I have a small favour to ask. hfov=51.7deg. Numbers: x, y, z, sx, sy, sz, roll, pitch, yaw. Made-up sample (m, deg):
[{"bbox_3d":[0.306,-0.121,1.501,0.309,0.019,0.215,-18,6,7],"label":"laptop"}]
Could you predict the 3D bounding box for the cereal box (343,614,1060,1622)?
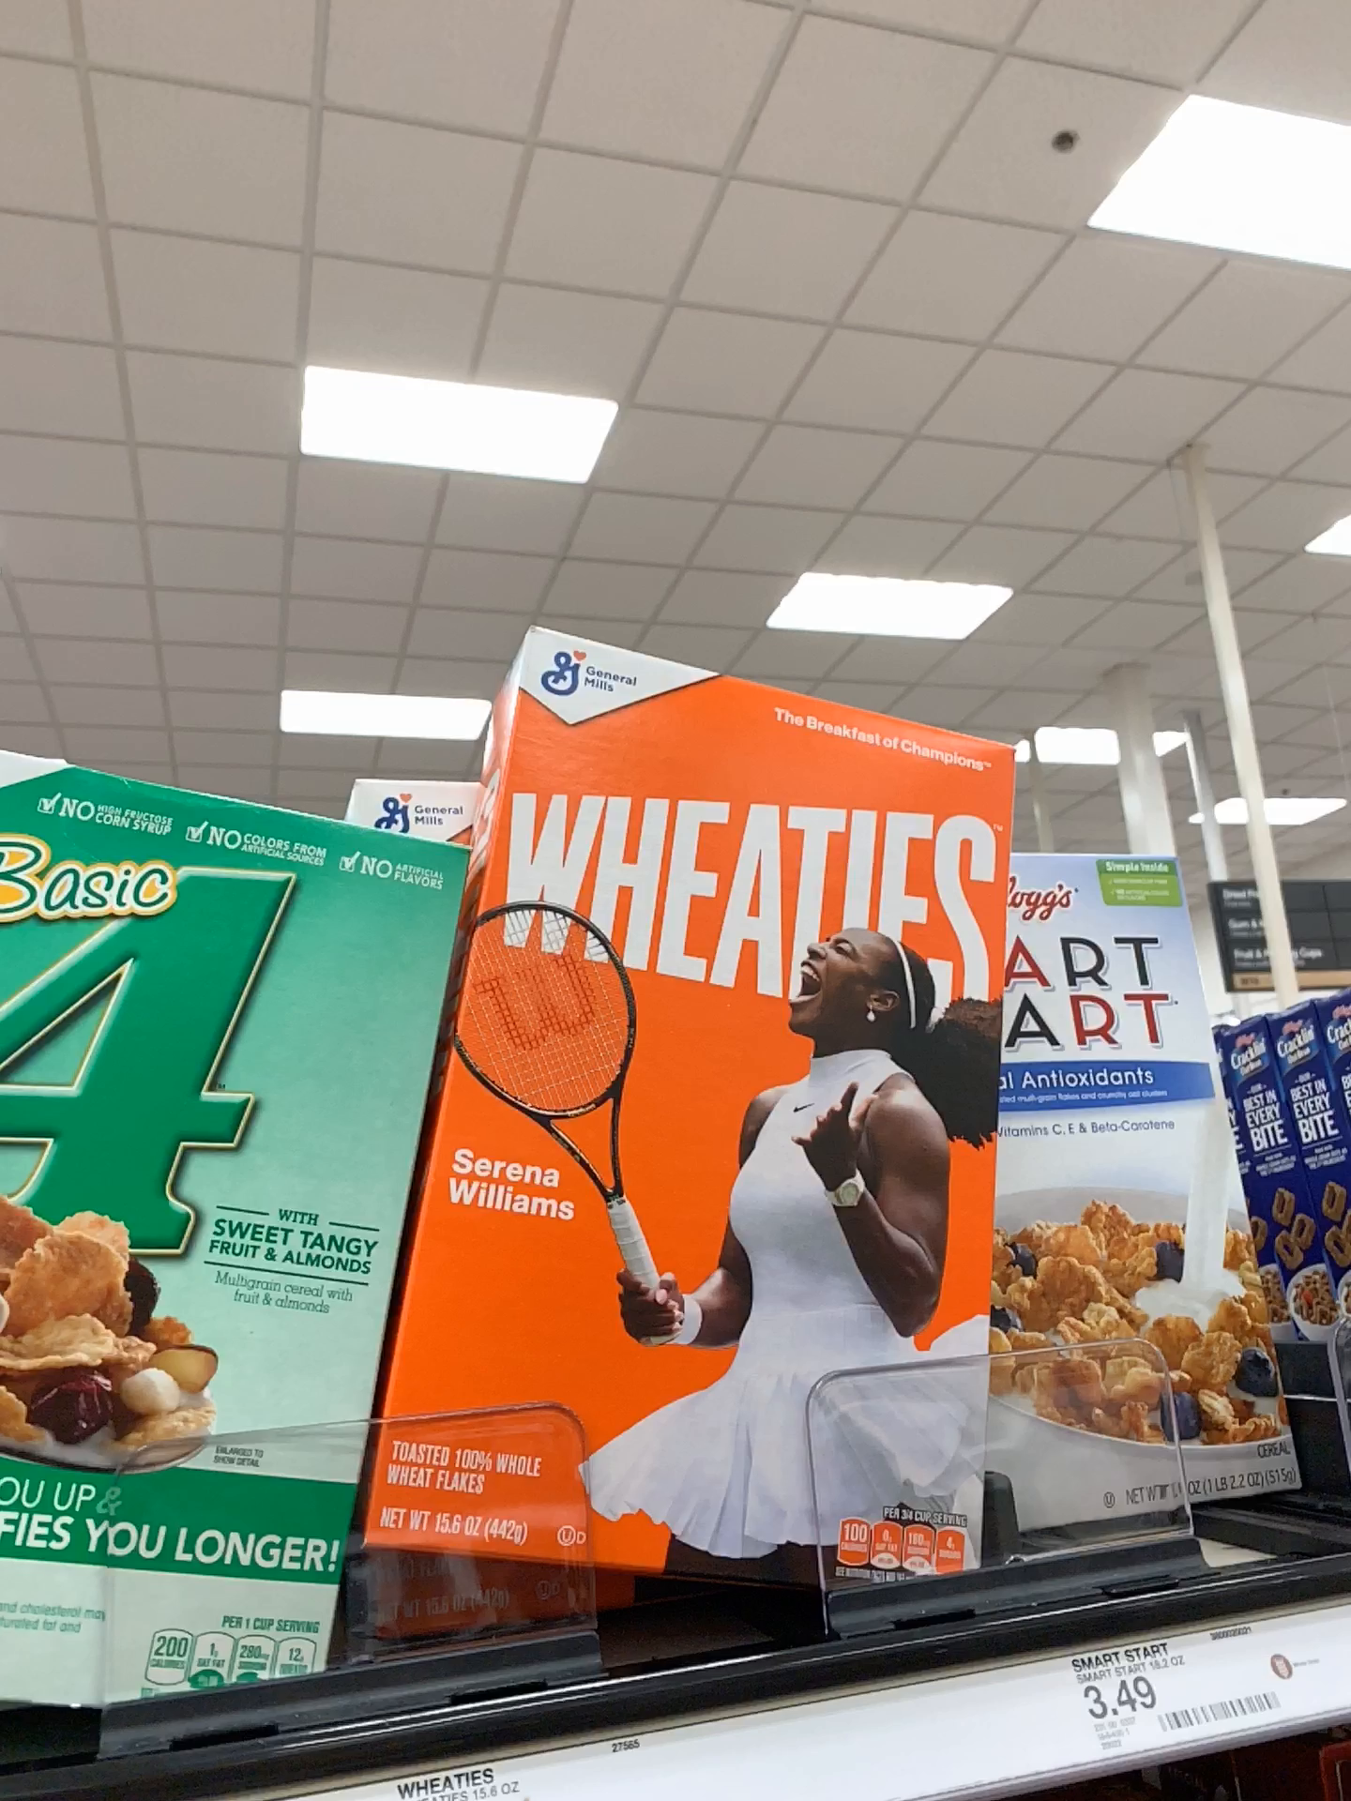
[{"bbox_3d":[0.019,0.070,0.477,0.200,0.291,0.070,12,-19,-13],"label":"cereal box"}]
